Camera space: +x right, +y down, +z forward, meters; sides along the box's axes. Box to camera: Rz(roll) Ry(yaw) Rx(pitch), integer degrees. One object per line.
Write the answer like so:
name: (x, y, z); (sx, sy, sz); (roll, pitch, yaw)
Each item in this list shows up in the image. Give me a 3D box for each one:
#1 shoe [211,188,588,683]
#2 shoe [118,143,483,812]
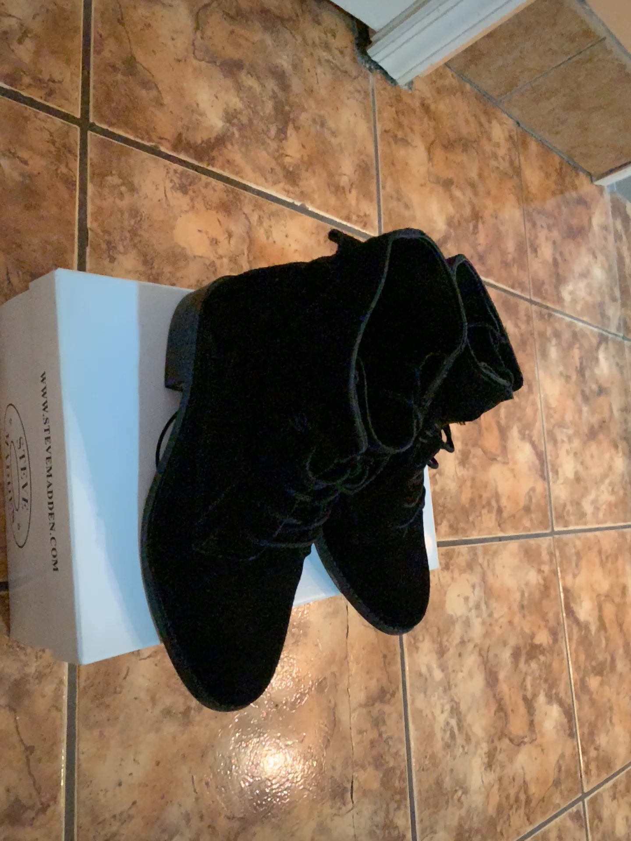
shoe: (0.053, 0.010, 0.421); (0.108, 0.141, 0.267); (-20, 95, -44)
shoe: (-0.019, 0.027, 0.334); (0.094, 0.152, 0.257); (4, 78, -43)
